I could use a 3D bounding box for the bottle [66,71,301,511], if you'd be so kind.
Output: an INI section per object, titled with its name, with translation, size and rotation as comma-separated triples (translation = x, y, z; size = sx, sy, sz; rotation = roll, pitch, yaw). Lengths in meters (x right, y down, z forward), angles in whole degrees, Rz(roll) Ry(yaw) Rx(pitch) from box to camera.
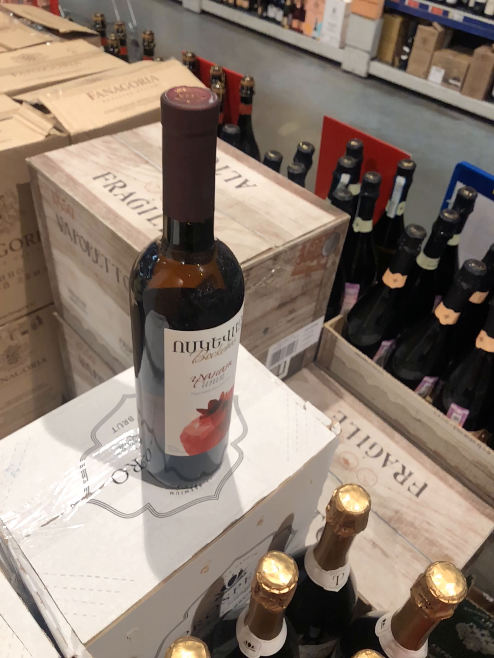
[bottle]
translation = -0.044, -0.003, 0.377
size = 0.090, 0.298, 0.080
rotation = -22, 50, -26
